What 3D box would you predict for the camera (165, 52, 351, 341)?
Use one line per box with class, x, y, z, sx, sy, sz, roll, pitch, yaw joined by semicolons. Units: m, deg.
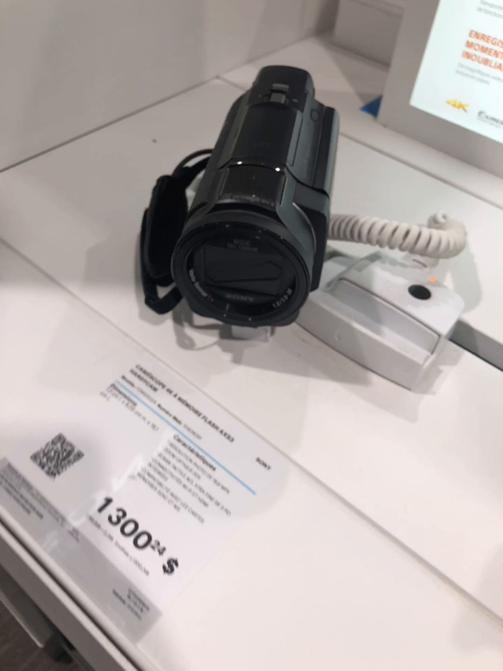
camera;0.009;-0.080;0.298;0.073;0.070;0.149;8;47;2
